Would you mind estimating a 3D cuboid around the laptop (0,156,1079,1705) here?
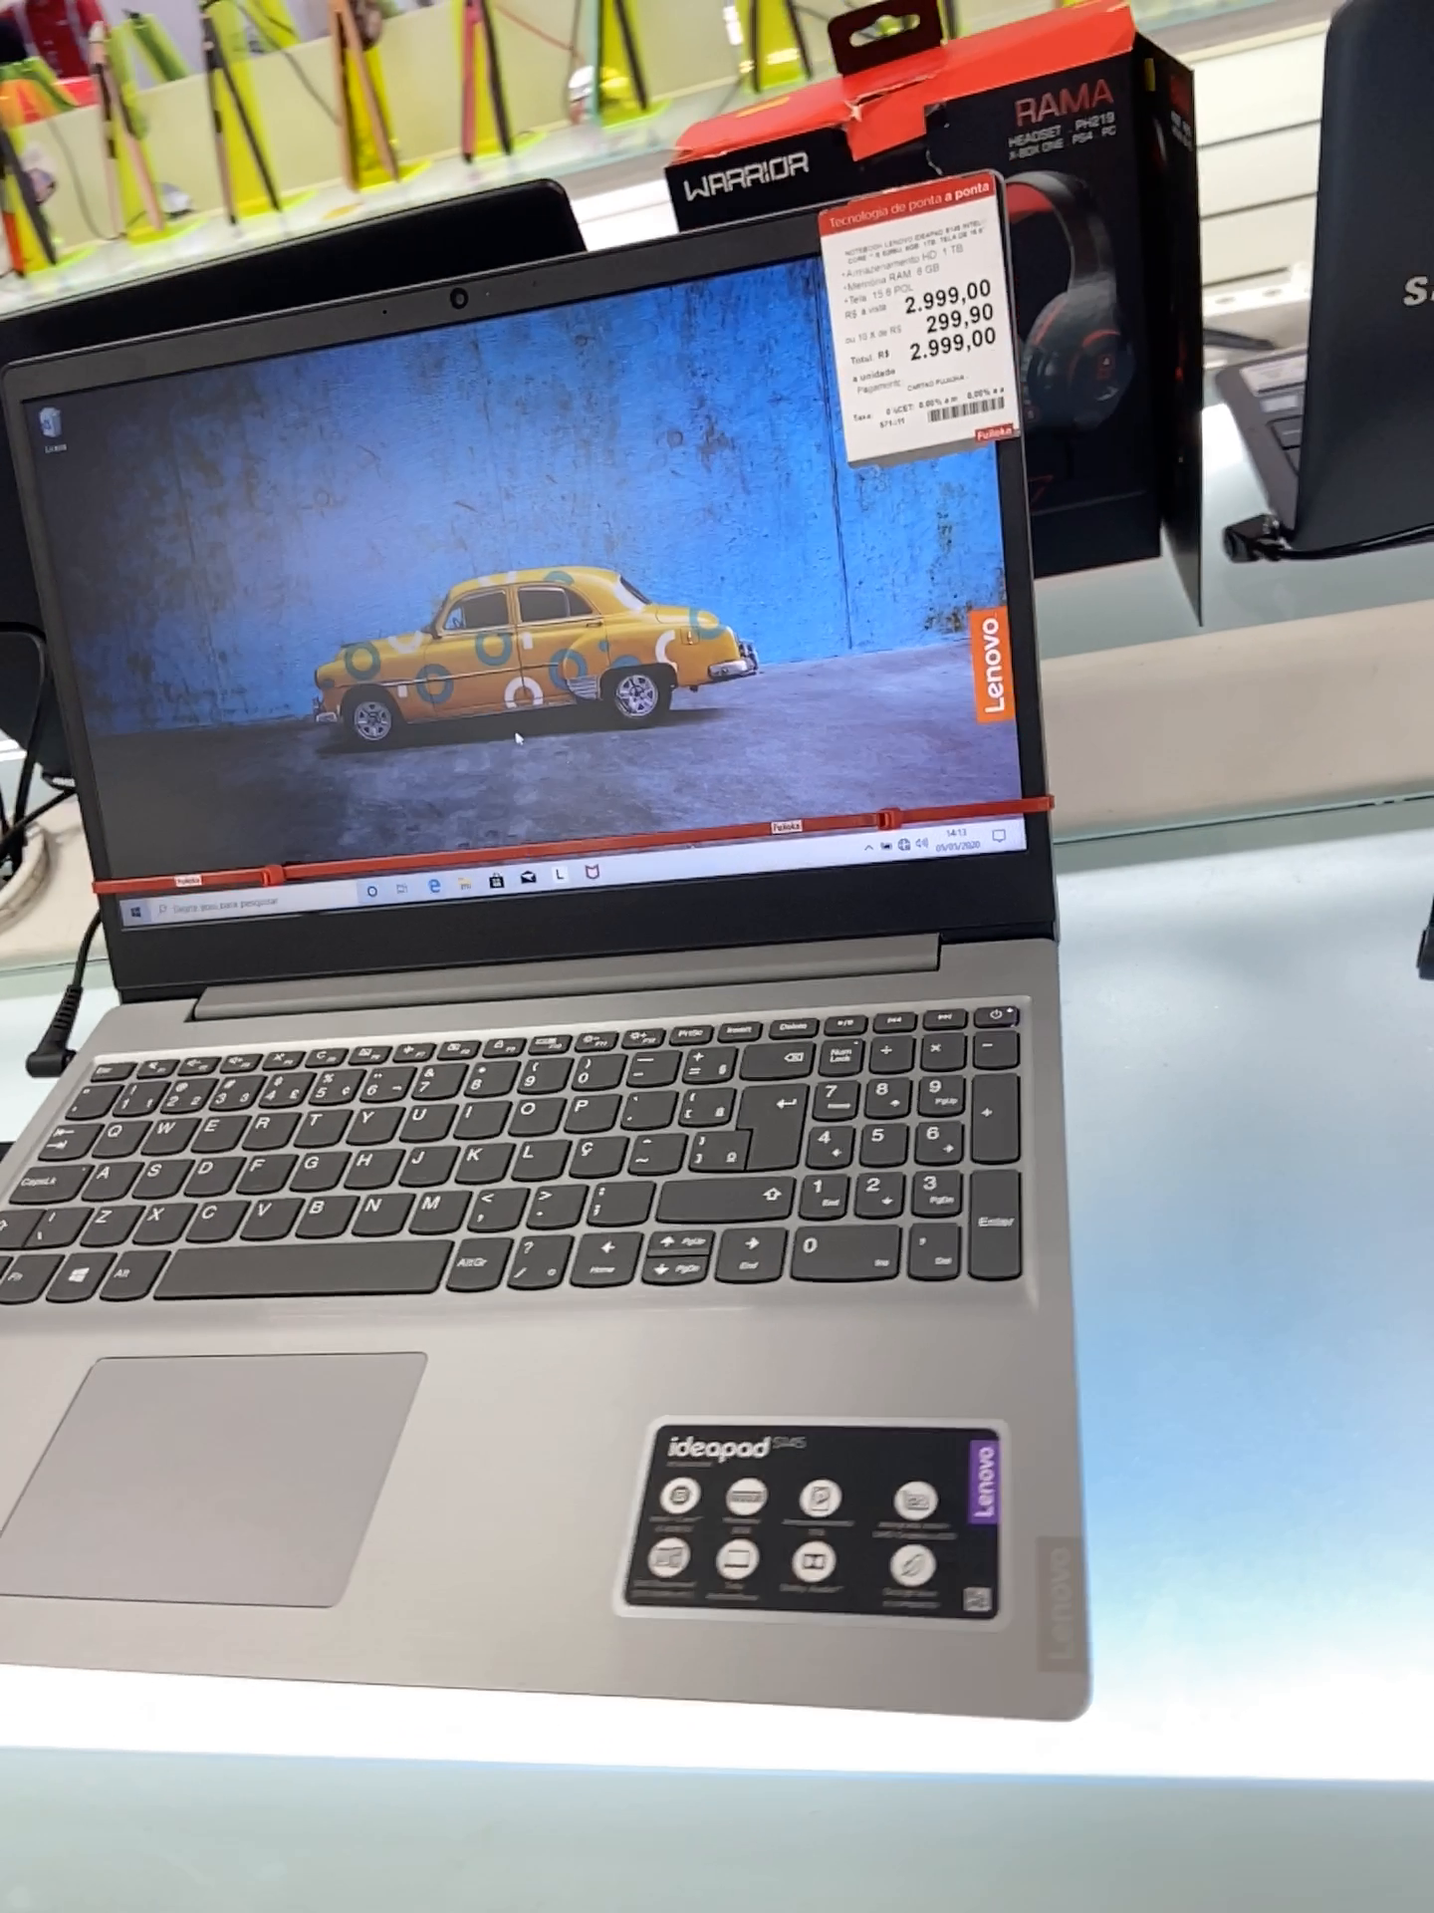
[{"bbox_3d":[-0.100,-0.036,0.432,0.368,0.209,0.381,-5,38,15],"label":"laptop"}]
